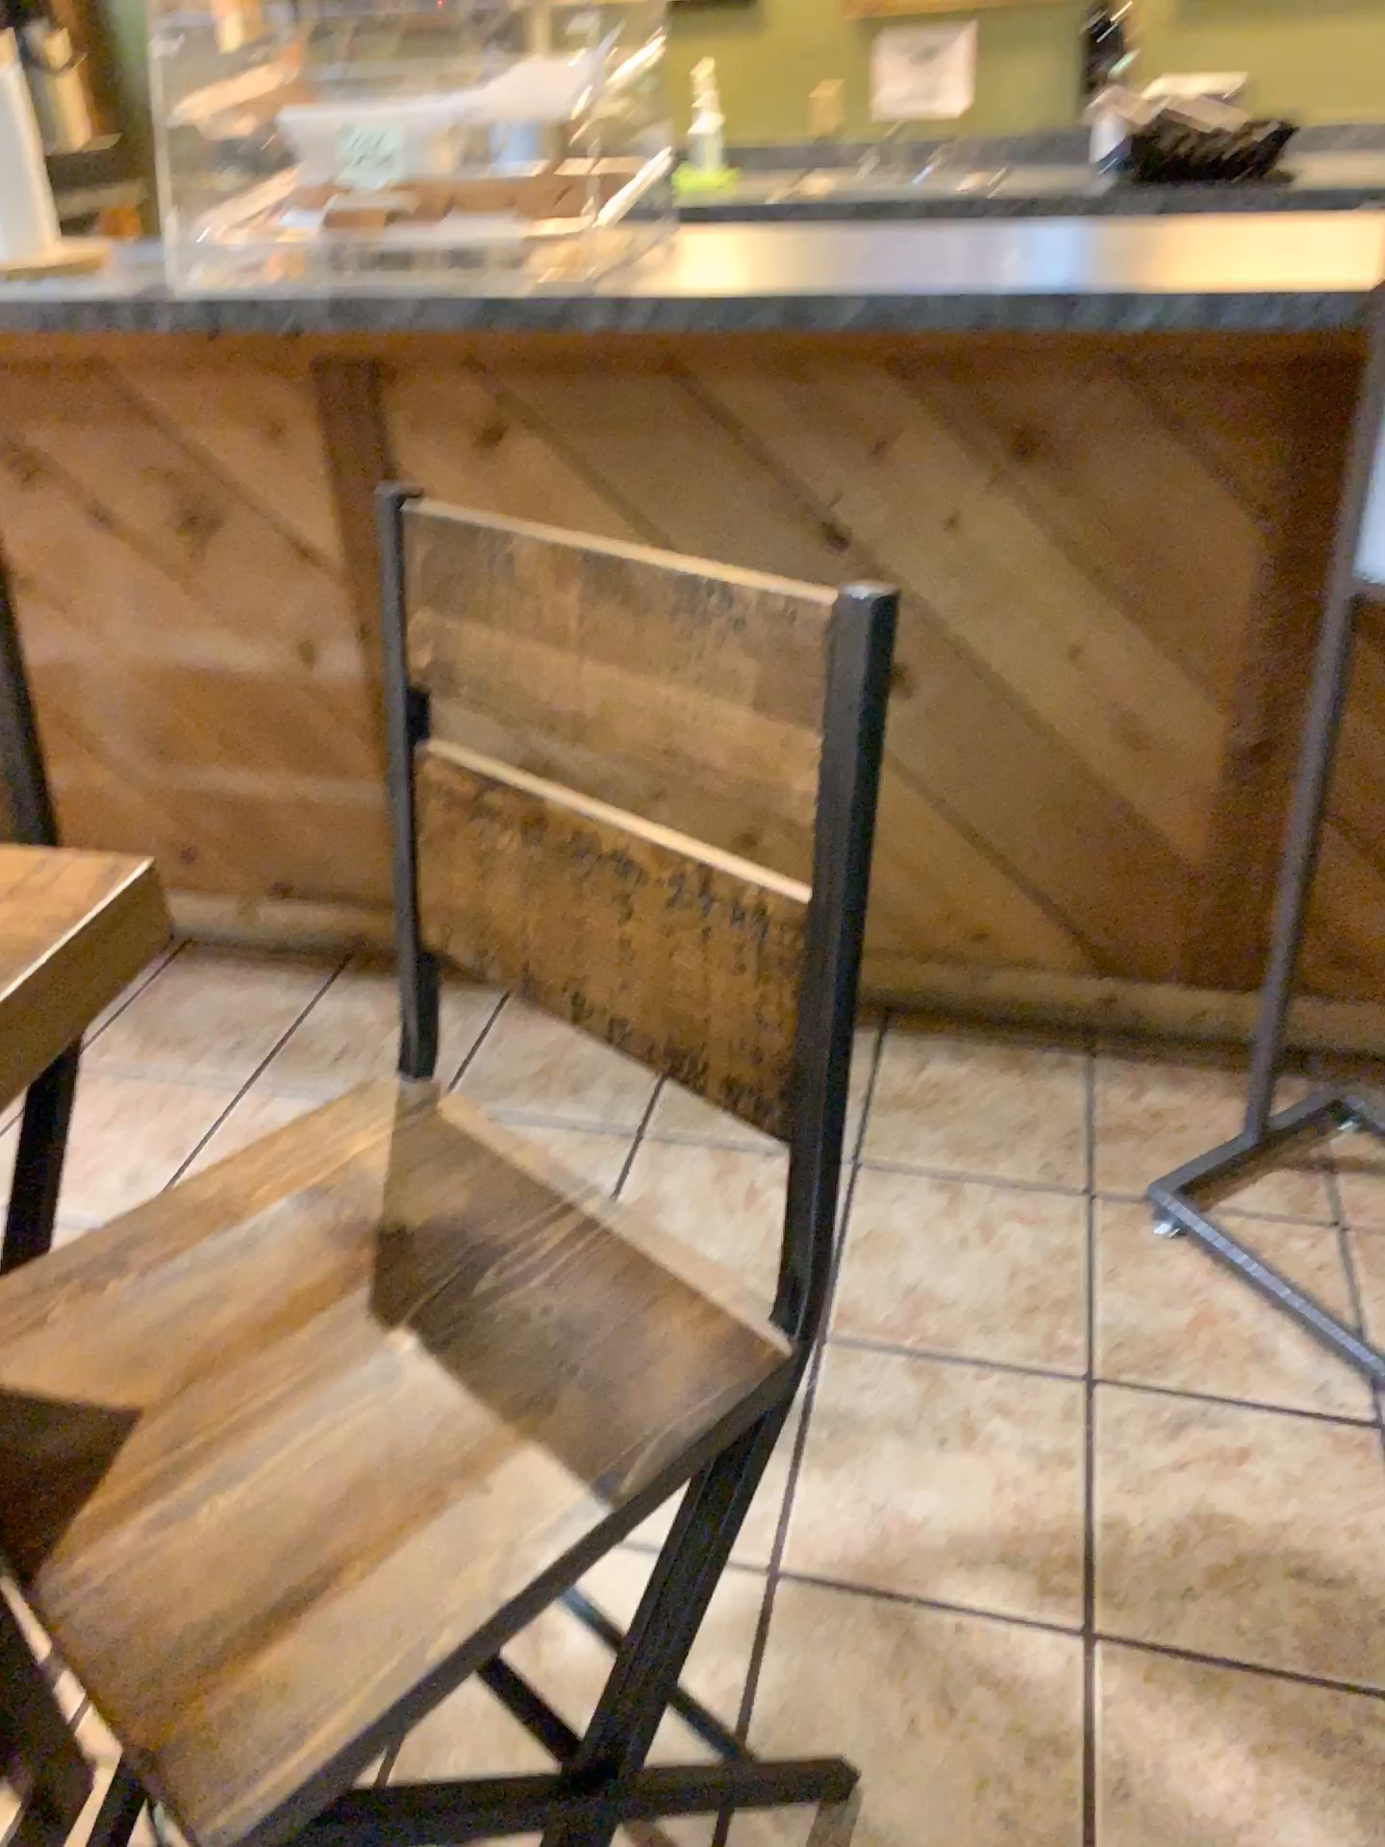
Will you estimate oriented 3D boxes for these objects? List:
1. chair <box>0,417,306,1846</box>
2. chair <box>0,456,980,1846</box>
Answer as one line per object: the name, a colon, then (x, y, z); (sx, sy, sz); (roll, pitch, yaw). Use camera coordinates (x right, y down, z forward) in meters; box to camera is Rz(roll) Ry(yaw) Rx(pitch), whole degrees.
chair: (-0.784, 0.185, 1.166); (0.492, 1.002, 0.618); (5, 35, 13)
chair: (-0.184, 0.302, 0.915); (0.616, 0.983, 0.444); (-31, 40, -33)
